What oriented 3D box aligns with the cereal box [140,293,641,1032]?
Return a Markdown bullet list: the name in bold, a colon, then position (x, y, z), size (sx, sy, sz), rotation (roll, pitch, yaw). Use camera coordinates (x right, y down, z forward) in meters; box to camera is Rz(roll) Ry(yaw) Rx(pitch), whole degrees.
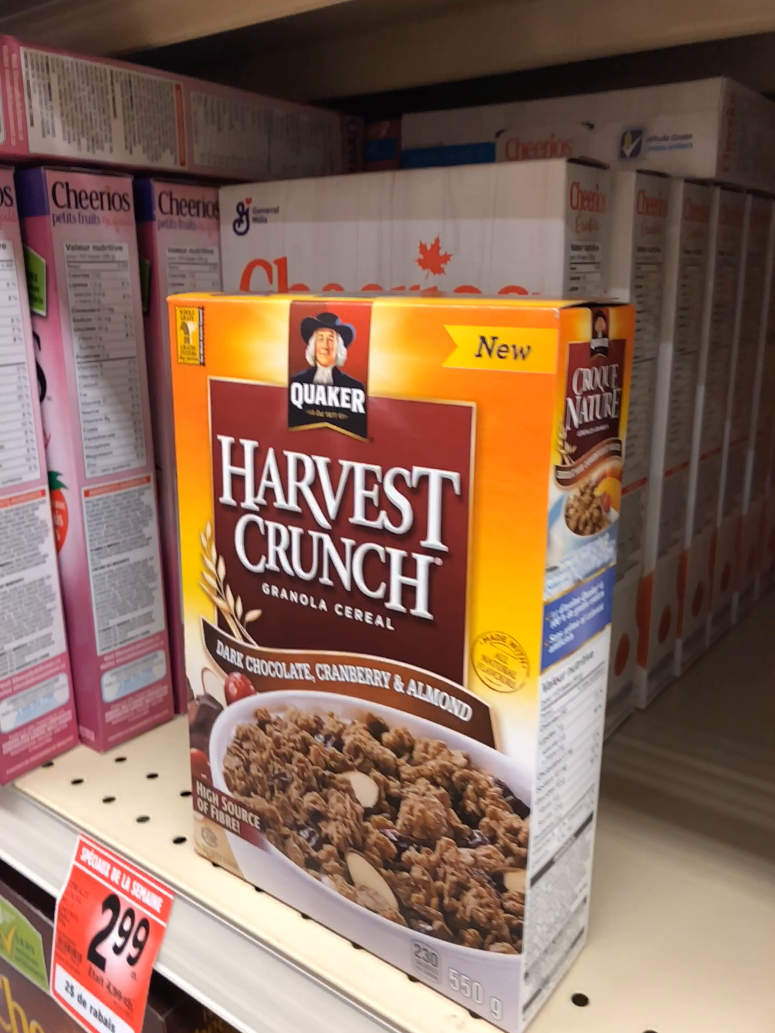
- **cereal box**: position (-0.007, 0.040, 0.325), size (0.170, 0.239, 0.060), rotation (11, 17, 36)
